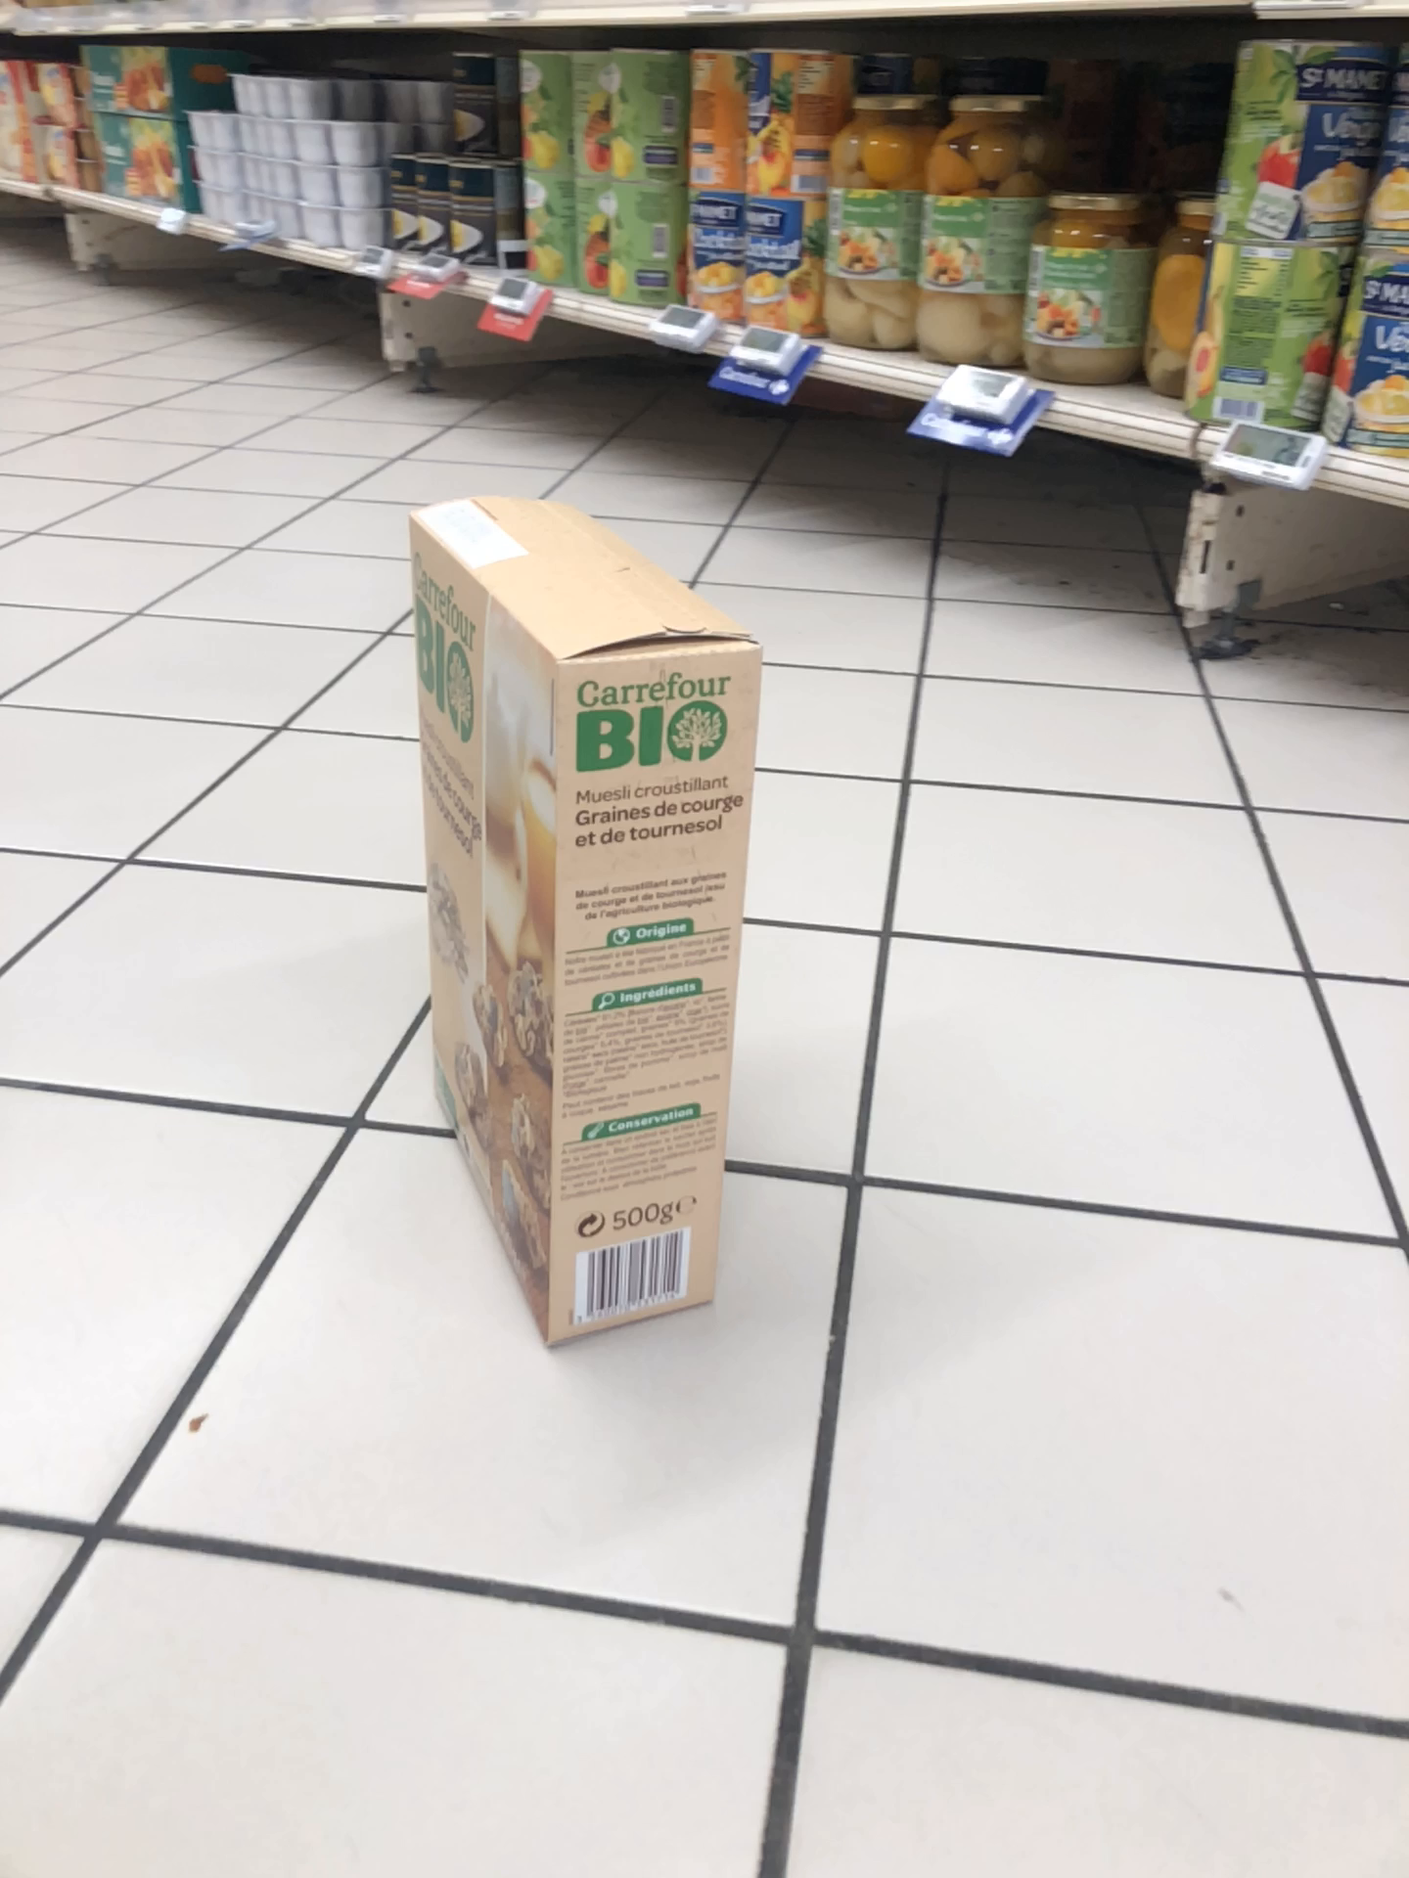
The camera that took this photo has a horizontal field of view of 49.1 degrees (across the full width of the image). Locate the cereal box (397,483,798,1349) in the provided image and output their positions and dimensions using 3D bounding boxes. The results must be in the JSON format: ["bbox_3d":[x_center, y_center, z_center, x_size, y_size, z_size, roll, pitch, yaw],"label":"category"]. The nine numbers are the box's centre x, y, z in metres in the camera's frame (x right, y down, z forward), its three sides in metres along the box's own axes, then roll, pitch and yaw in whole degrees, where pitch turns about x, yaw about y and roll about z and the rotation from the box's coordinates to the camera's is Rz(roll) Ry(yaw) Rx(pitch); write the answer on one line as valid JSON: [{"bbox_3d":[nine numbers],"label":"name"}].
[{"bbox_3d":[-0.044,-0.016,0.513,0.070,0.229,0.171,-8,29,-20],"label":"cereal box"}]
